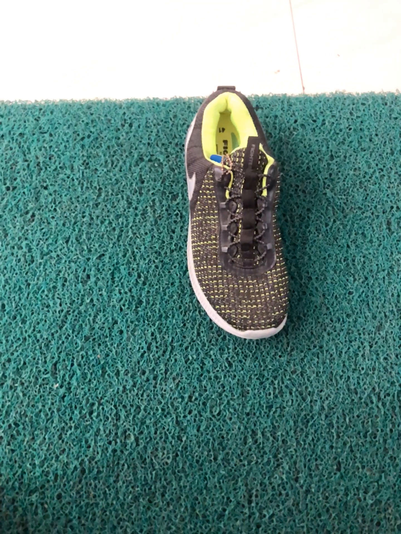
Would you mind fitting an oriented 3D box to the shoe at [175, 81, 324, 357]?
[{"bbox_3d":[0.038,-0.052,0.464,0.110,0.090,0.270,-4,71,-4],"label":"shoe"}]
